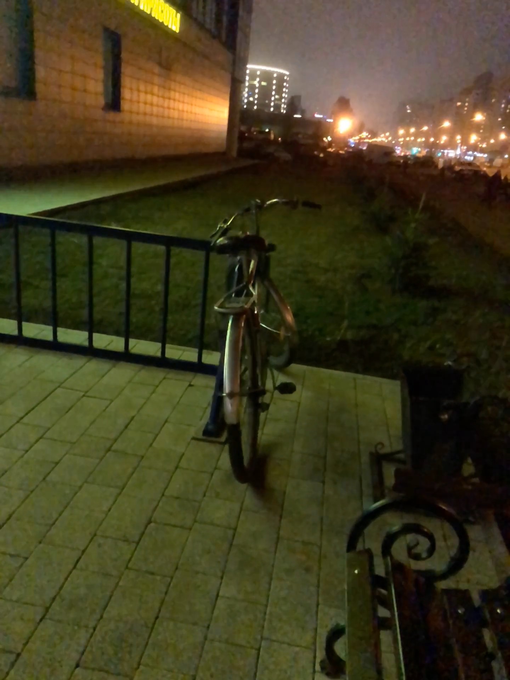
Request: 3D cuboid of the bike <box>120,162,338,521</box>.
[{"bbox_3d":[-0.157,-0.199,2.719,0.679,1.047,1.726,5,22,-3],"label":"bike"}]
